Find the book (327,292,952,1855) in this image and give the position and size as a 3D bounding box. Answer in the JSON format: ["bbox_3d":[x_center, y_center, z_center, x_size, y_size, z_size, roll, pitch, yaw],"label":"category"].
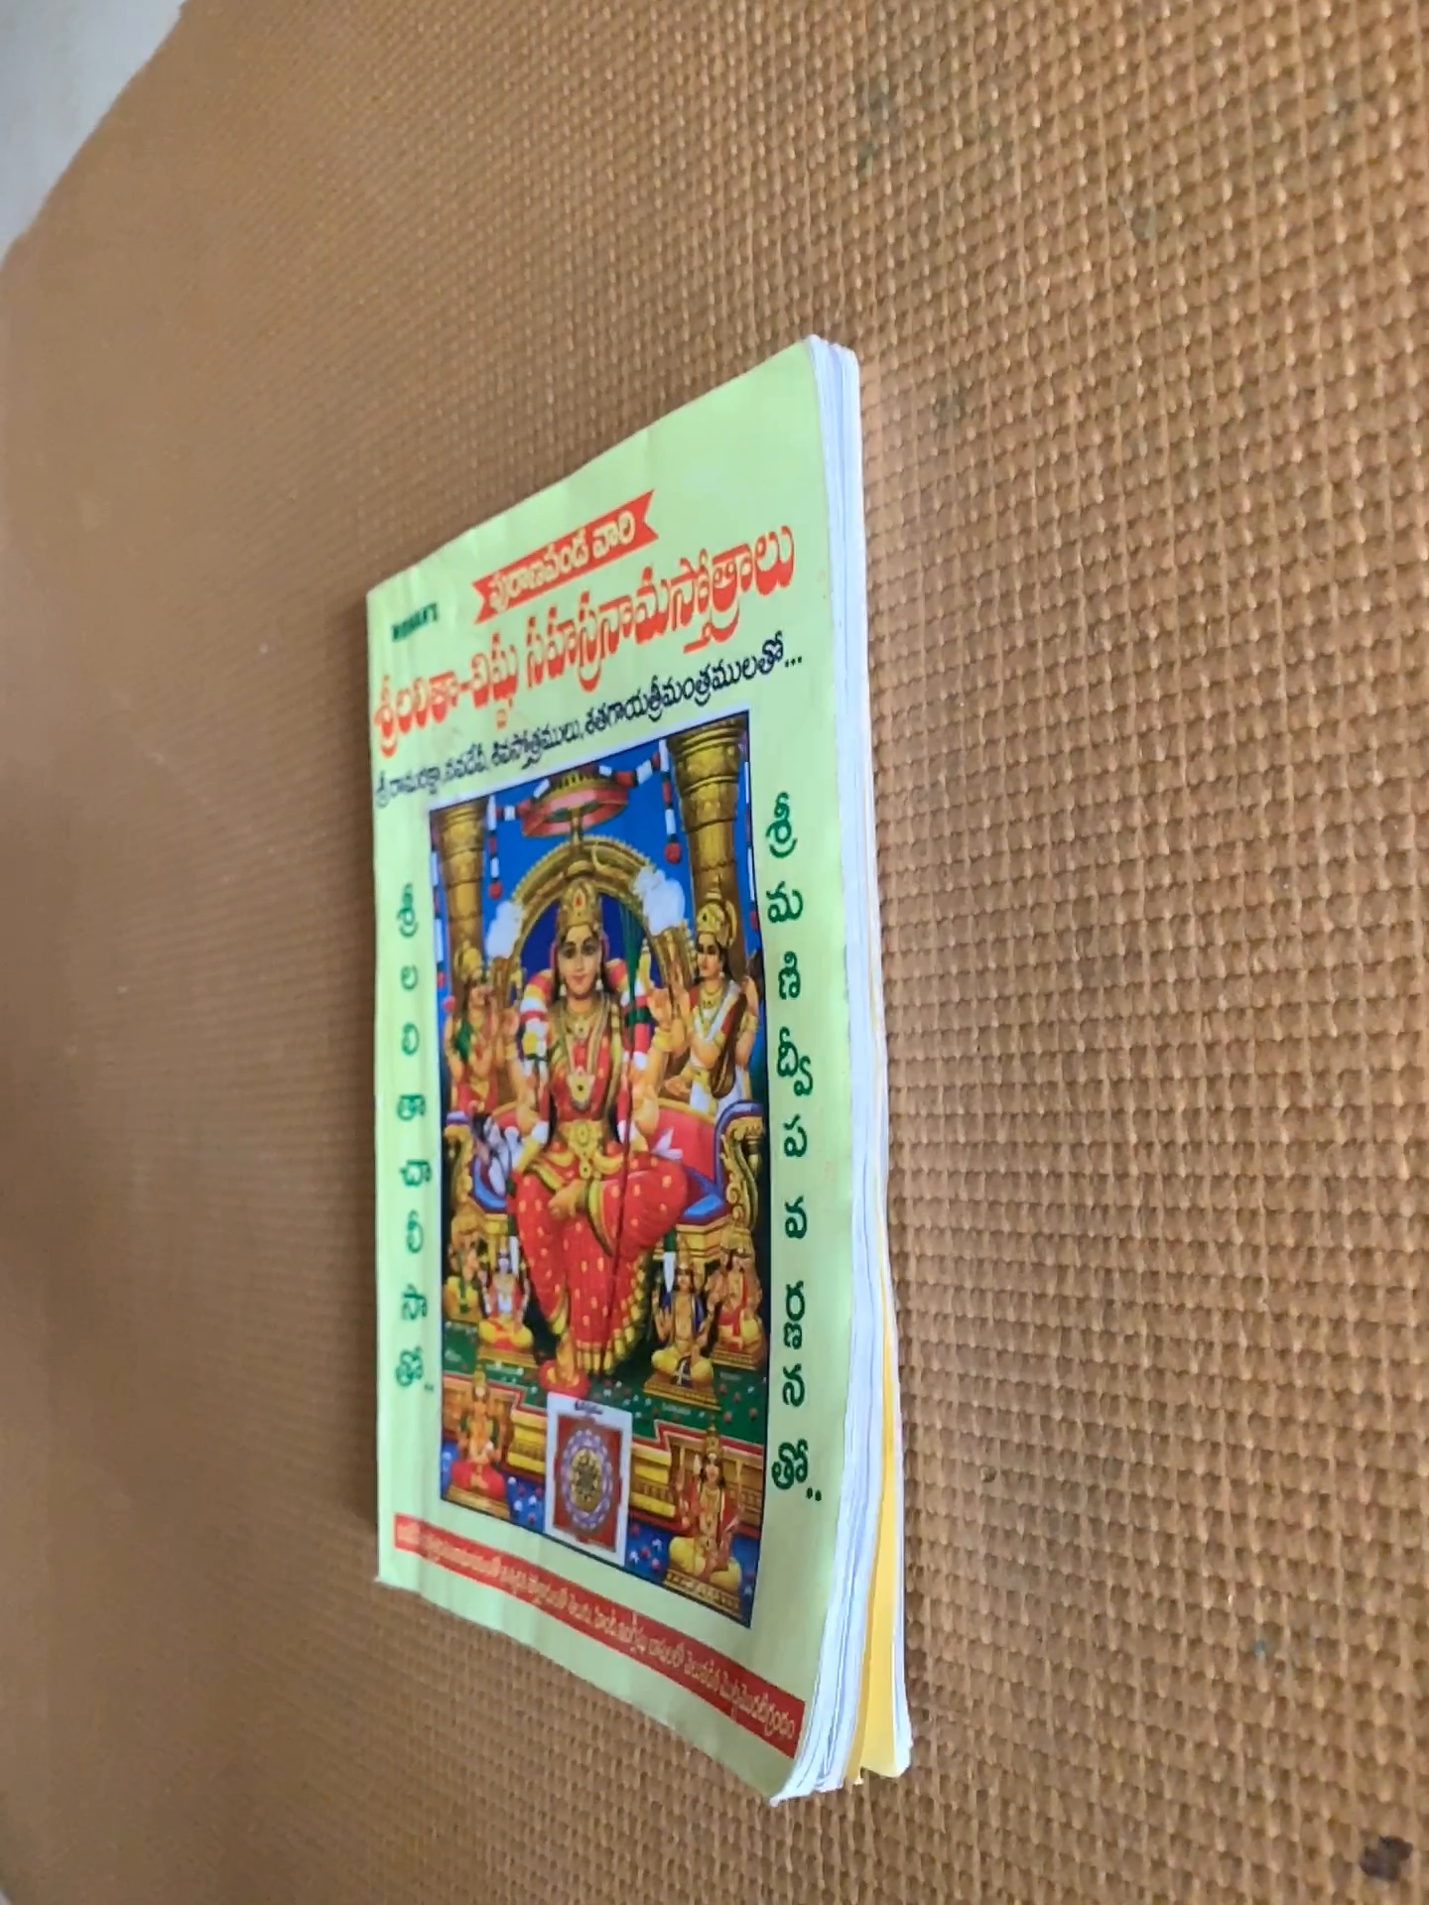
[{"bbox_3d":[-0.025,0.018,0.260,0.141,0.020,0.210,-8,81,48],"label":"book"}]
